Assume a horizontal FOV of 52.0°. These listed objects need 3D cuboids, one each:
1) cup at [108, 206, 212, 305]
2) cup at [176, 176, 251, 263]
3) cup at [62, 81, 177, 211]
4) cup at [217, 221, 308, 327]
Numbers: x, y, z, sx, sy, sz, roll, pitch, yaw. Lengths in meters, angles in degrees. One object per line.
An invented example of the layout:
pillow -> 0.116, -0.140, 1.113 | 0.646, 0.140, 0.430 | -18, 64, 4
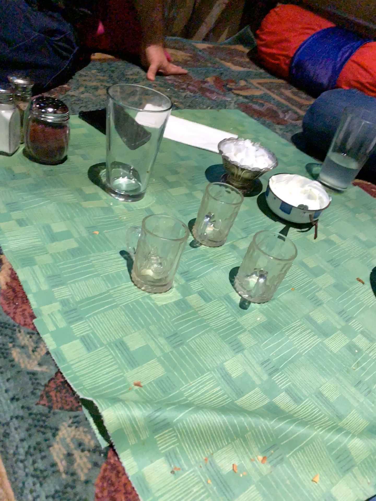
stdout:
cup -> -0.032, 0.002, 0.415 | 0.070, 0.050, 0.080 | -22, 53, -38
cup -> 0.035, -0.043, 0.500 | 0.060, 0.060, 0.090 | 23, 39, 7
cup -> -0.102, -0.151, 0.547 | 0.100, 0.129, 0.110 | 10, 39, -9
cup -> 0.088, 0.025, 0.456 | 0.060, 0.070, 0.090 | 28, 40, 13
